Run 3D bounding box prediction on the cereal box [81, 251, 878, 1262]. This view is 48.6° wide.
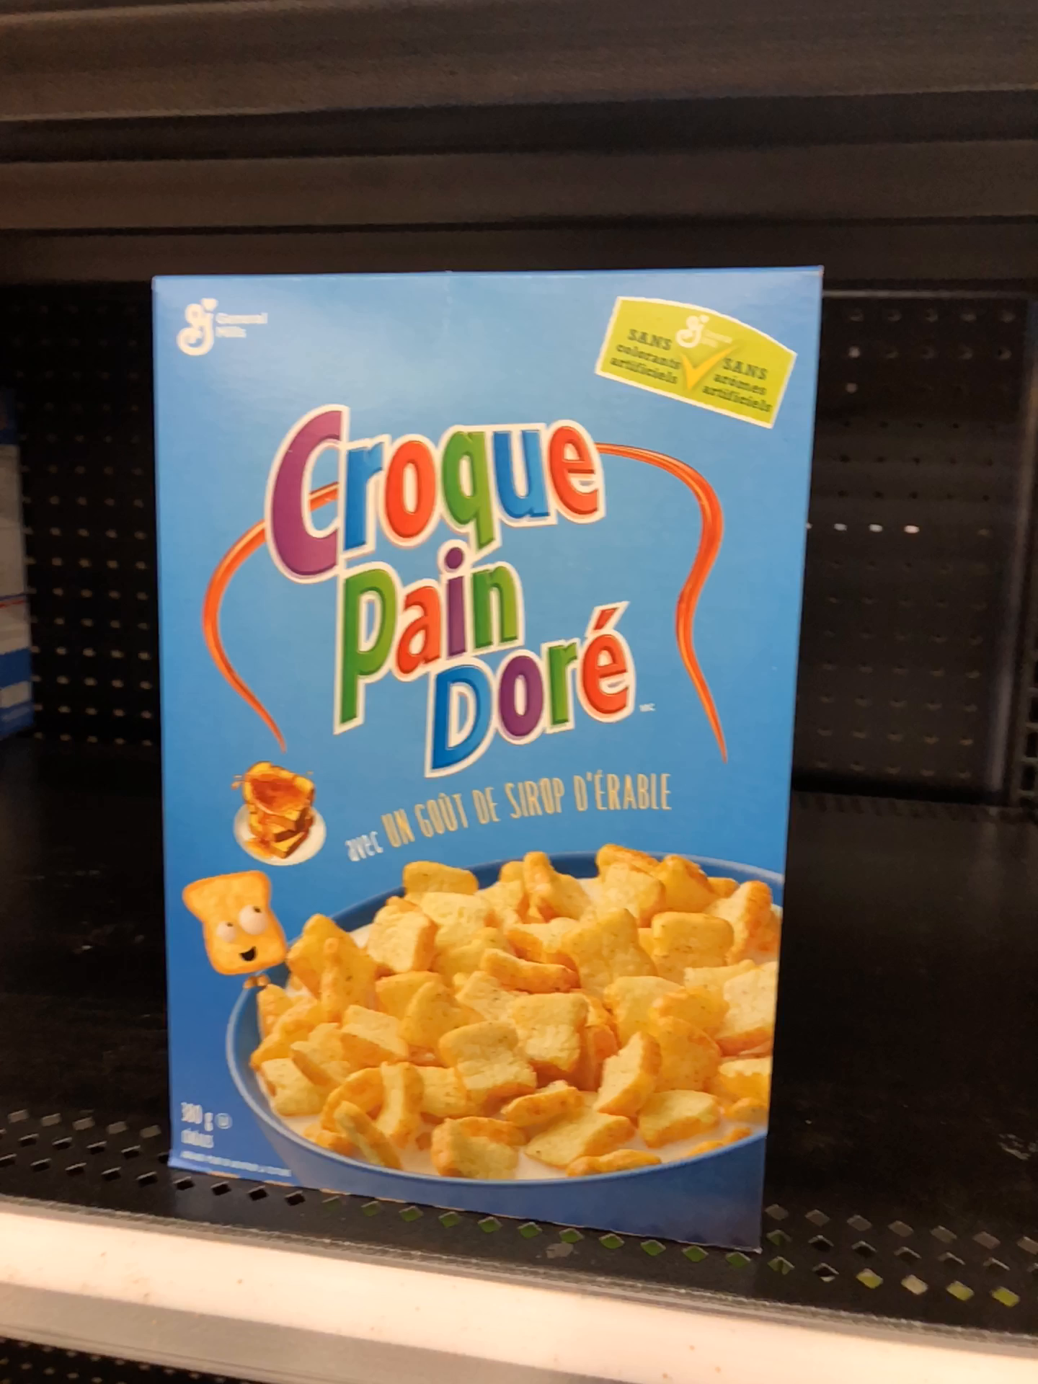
[{"bbox_3d":[-0.014,0.015,0.347,0.210,0.269,0.060,3,10,11],"label":"cereal box"}]
